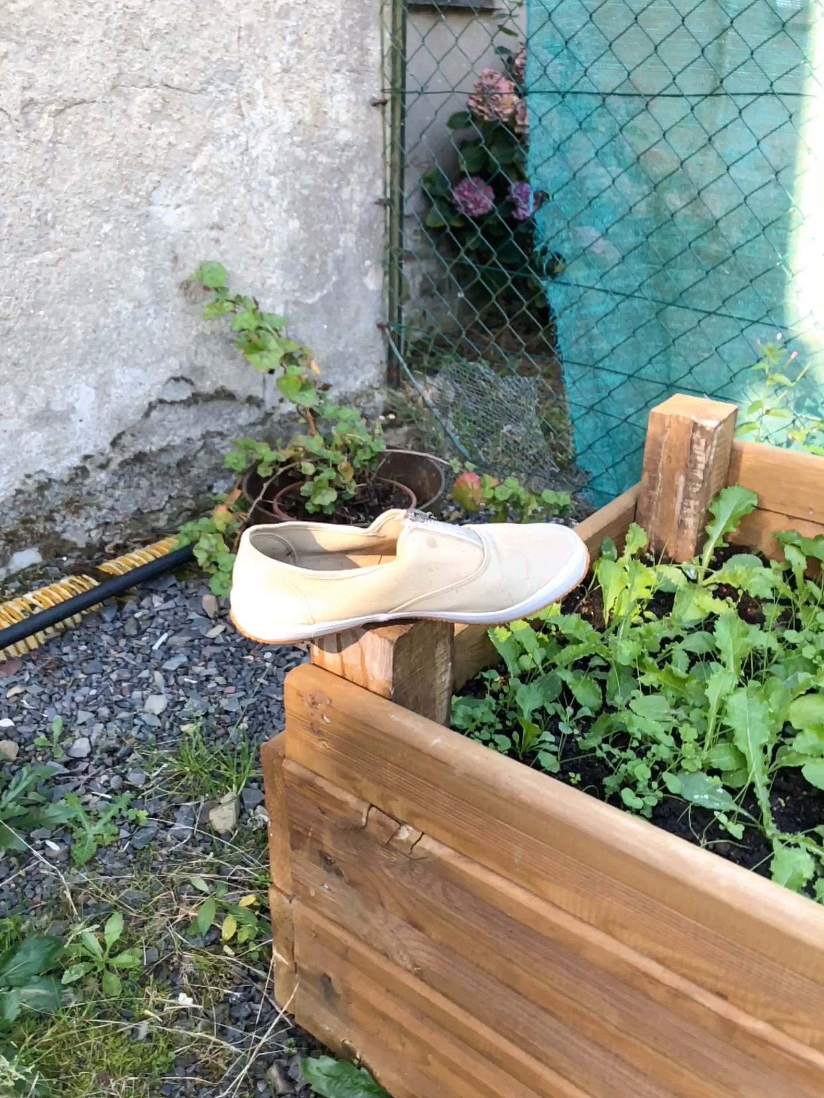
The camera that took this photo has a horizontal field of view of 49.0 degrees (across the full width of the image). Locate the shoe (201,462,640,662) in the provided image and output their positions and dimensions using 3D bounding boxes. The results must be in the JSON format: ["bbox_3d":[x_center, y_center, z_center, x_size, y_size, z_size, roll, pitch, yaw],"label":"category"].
[{"bbox_3d":[0.002,0.003,0.596,0.260,0.070,0.111,-4,28,-6],"label":"shoe"}]
